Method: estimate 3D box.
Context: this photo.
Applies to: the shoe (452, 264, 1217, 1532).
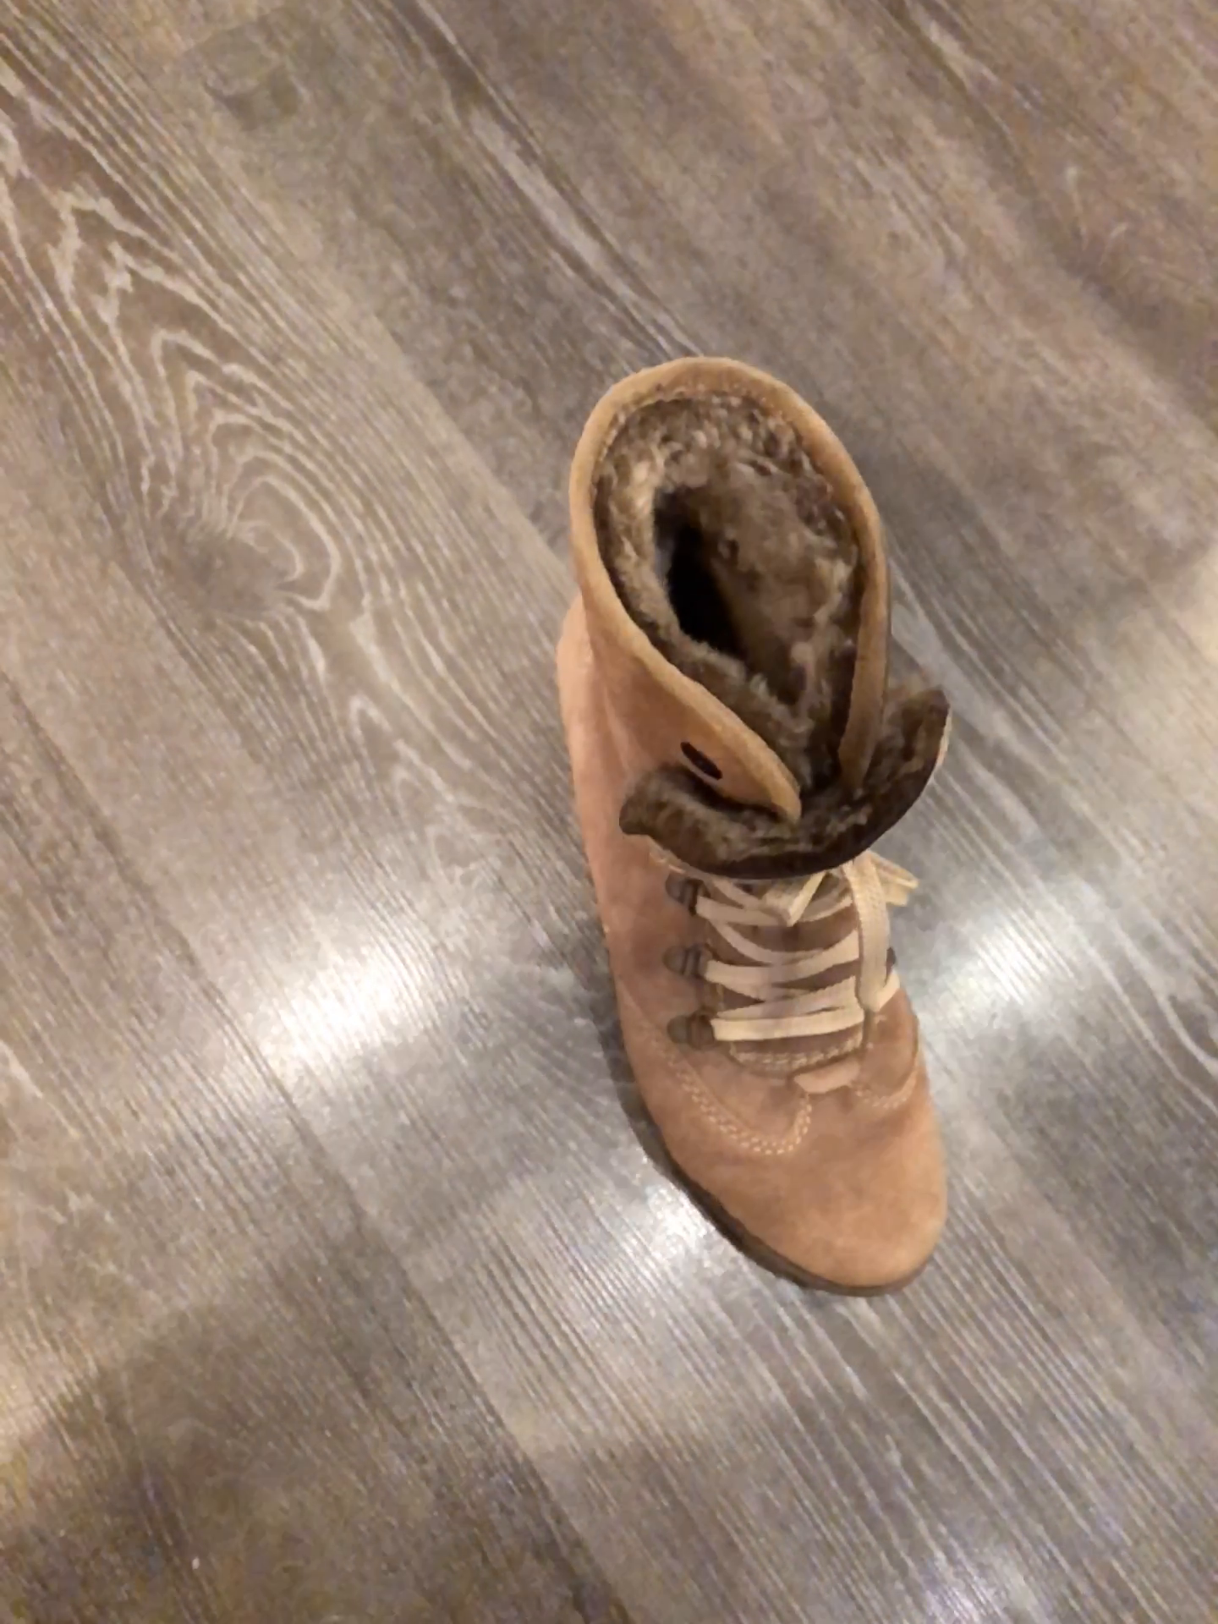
[{"bbox_3d":[0.046,0.026,0.362,0.100,0.190,0.240,-18,77,-10],"label":"shoe"}]
